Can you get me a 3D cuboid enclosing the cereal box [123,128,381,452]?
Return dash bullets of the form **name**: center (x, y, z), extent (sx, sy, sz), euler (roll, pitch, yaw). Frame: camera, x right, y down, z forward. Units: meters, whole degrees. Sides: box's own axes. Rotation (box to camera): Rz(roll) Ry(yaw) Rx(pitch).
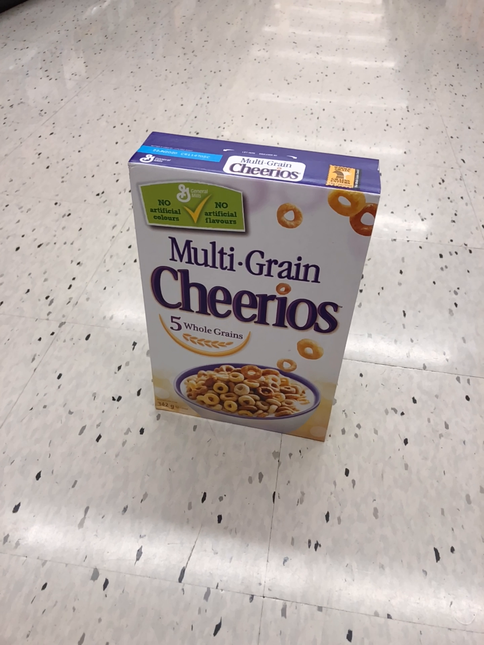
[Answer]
- **cereal box**: center (0.004, -0.011, 0.508), extent (0.190, 0.308, 0.060), euler (9, 42, 7)
